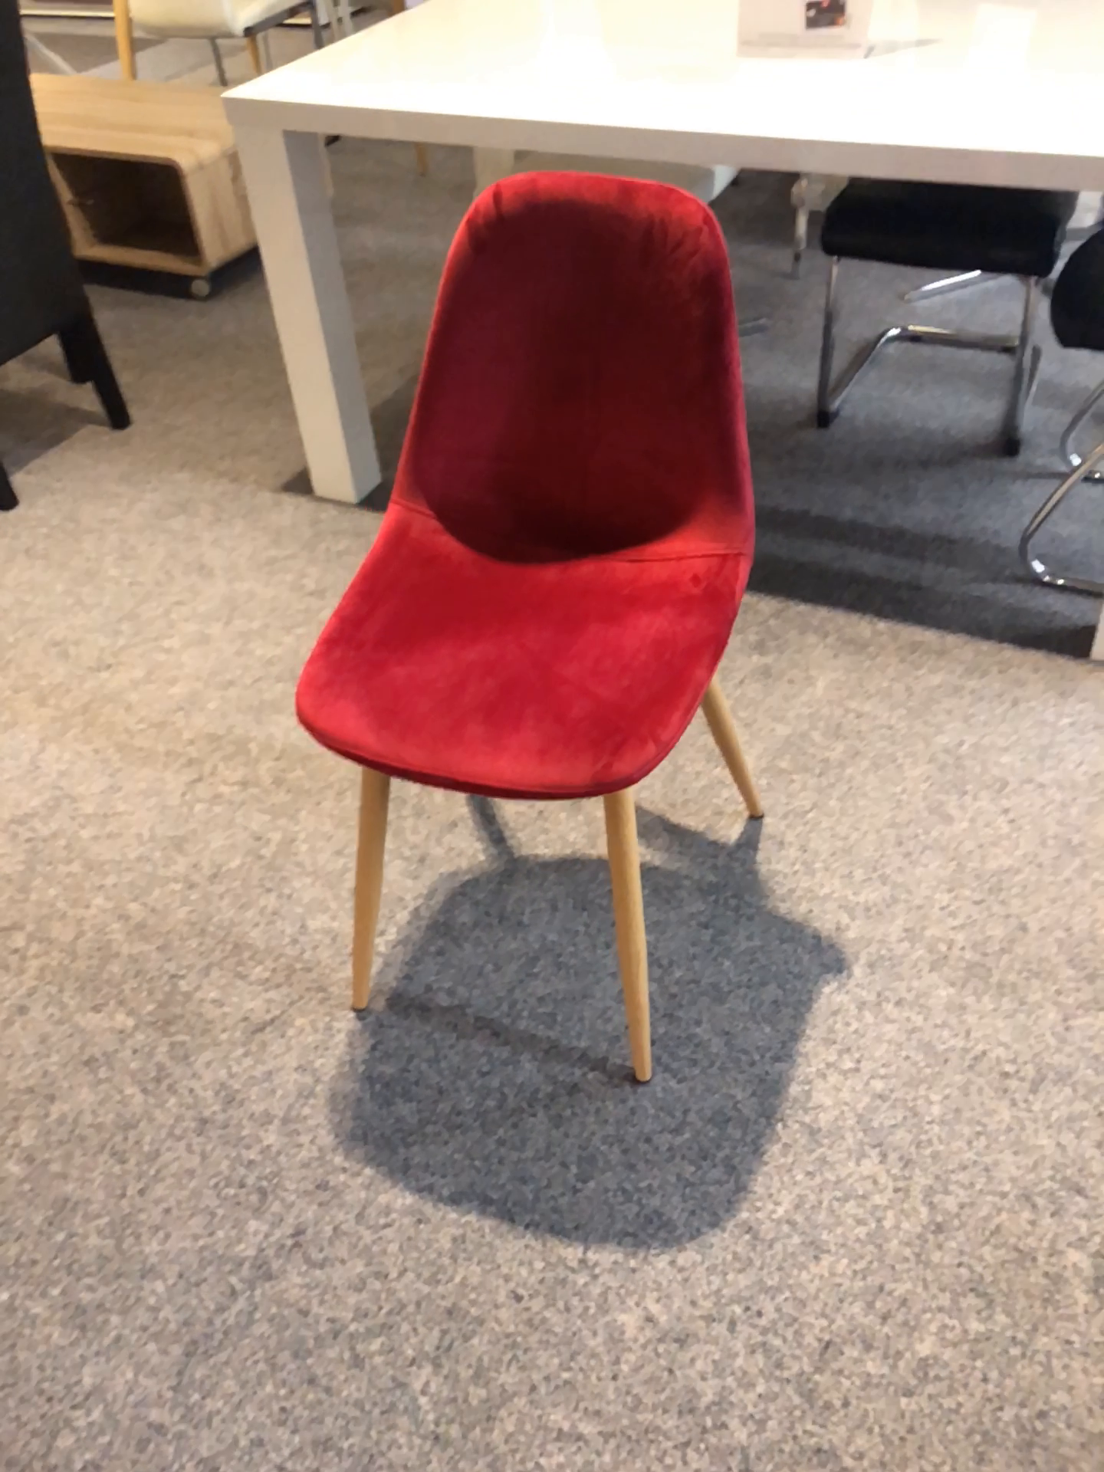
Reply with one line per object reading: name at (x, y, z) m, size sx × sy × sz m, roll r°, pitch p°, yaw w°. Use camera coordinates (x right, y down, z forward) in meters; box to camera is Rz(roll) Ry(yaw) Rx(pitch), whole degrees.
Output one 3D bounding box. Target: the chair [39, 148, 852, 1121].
chair at (-0.027, -0.111, 1.318) m, size 0.530 × 0.815 × 0.554 m, roll 11°, pitch 44°, yaw 17°
